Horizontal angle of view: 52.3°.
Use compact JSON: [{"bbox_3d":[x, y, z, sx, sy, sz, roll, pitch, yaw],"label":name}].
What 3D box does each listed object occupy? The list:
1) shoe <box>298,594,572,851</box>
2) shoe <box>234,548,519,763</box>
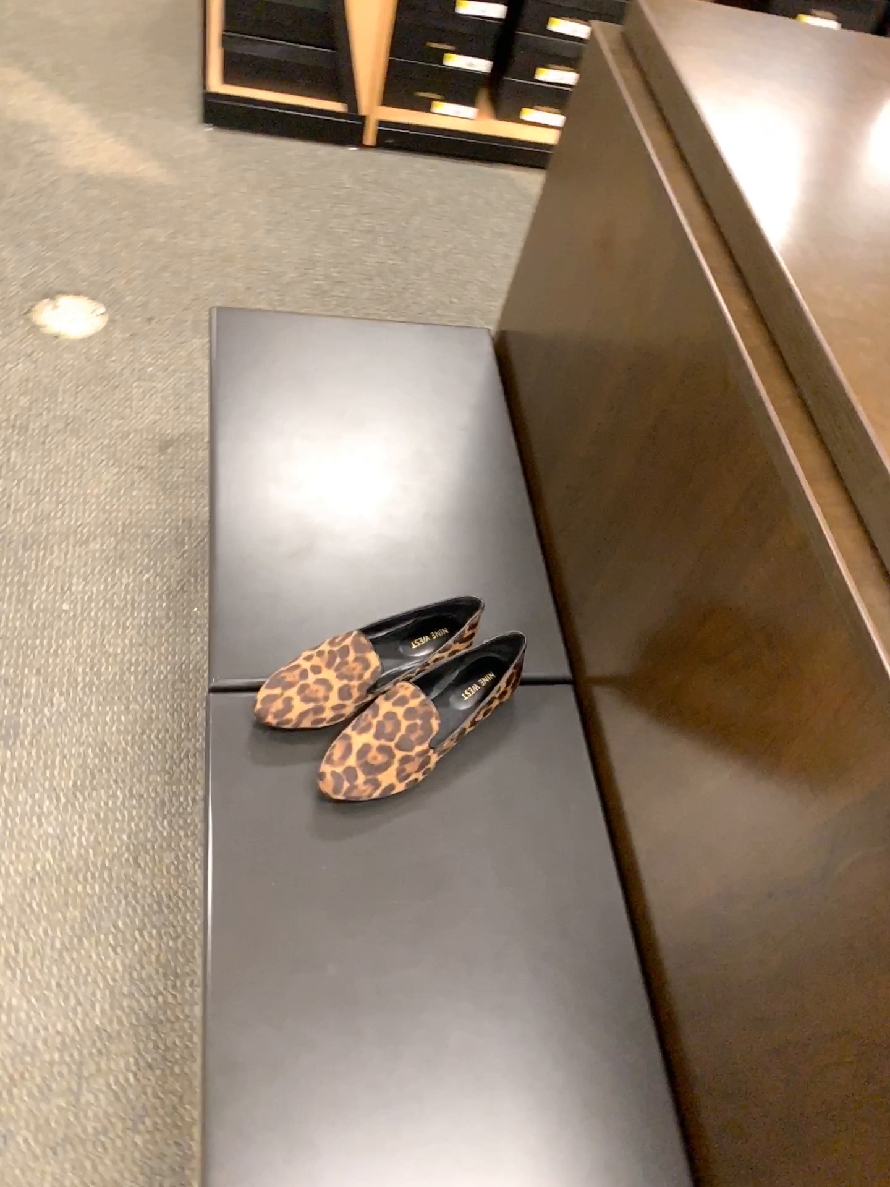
[{"bbox_3d":[-0.007,0.115,0.848,0.248,0.090,0.090,-33,70,-31],"label":"shoe"},{"bbox_3d":[-0.065,0.054,0.863,0.248,0.090,0.090,-21,64,-27],"label":"shoe"}]
